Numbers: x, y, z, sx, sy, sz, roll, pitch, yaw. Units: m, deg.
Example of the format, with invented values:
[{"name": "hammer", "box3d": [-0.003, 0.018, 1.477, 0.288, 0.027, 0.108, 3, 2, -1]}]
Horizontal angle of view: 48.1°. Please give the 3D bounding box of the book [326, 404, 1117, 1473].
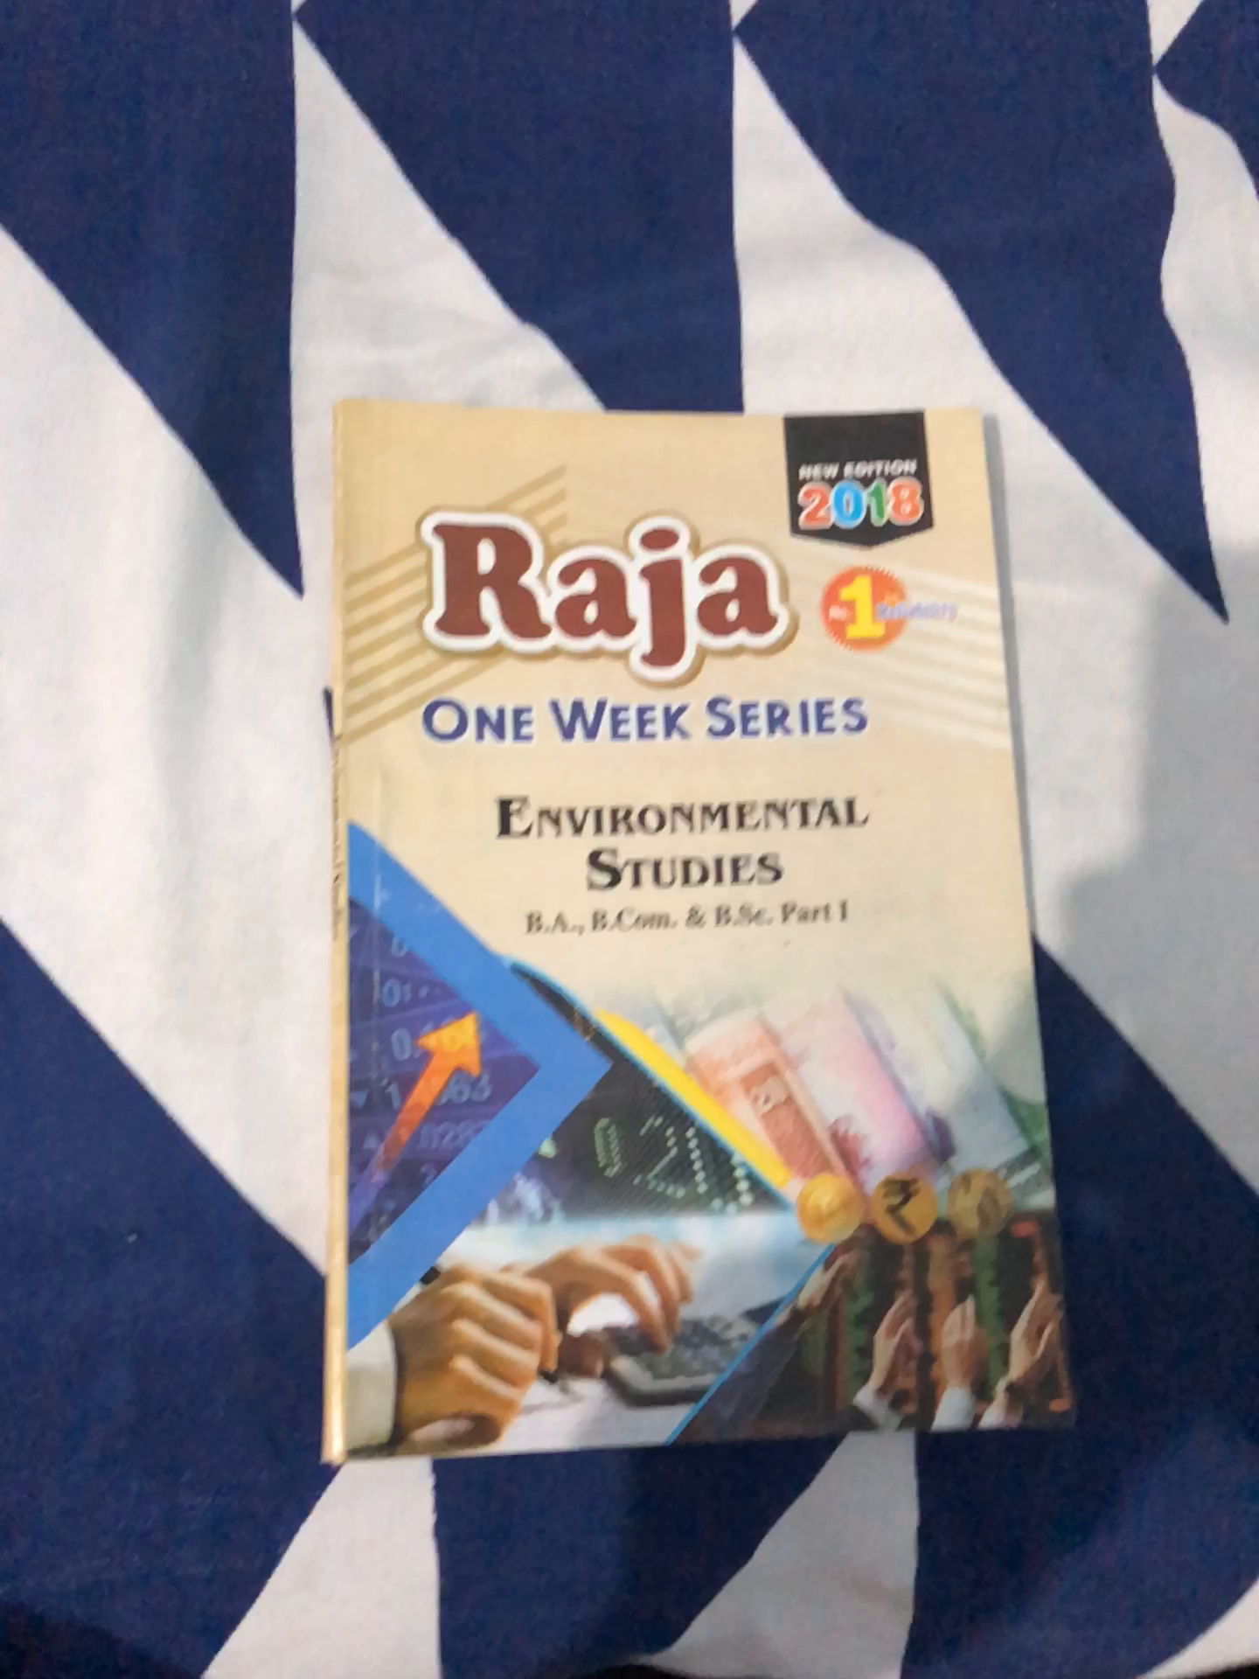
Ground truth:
[{"name": "book", "box3d": [0.014, 0.012, 0.272, 0.140, 0.010, 0.200, -1, 79, -2]}]
